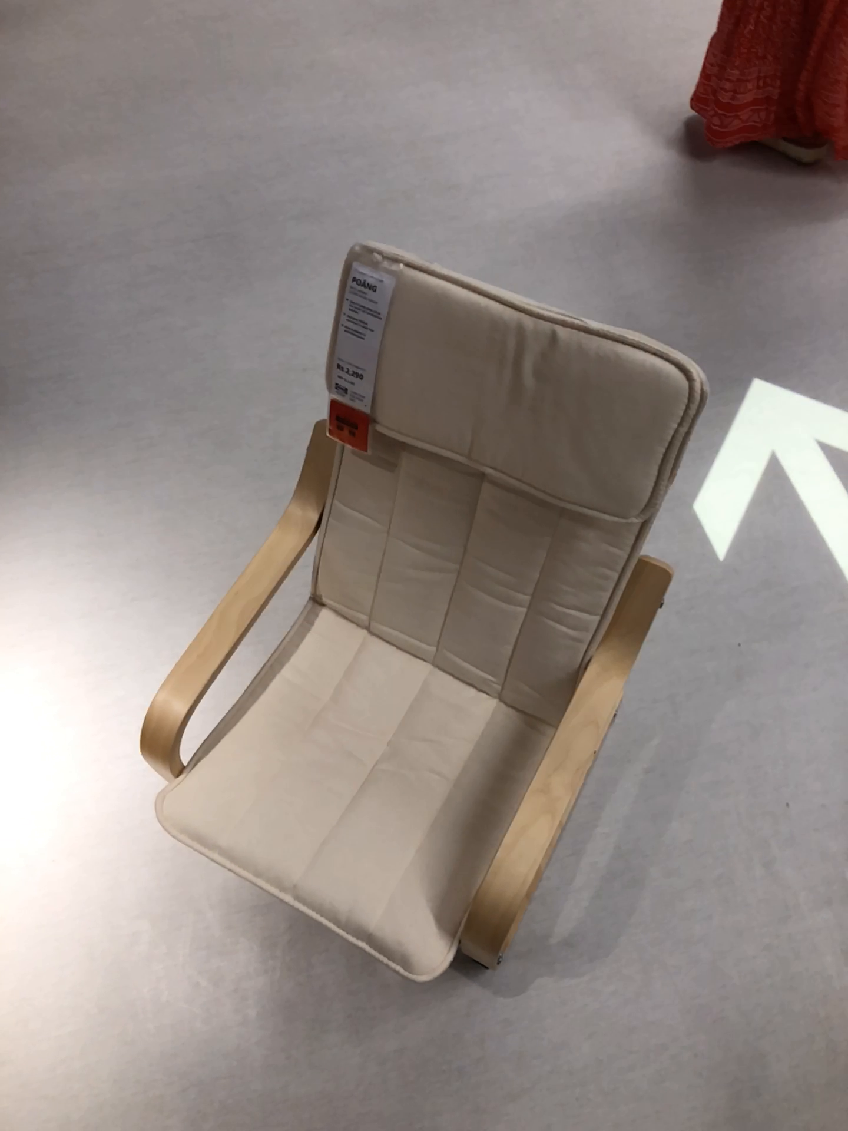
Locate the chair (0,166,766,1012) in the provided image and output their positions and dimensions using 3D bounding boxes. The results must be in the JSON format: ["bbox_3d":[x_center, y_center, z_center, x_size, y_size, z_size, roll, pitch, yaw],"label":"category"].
[{"bbox_3d":[-0.060,0.113,1.167,0.561,0.837,0.582,25,66,14],"label":"chair"}]
